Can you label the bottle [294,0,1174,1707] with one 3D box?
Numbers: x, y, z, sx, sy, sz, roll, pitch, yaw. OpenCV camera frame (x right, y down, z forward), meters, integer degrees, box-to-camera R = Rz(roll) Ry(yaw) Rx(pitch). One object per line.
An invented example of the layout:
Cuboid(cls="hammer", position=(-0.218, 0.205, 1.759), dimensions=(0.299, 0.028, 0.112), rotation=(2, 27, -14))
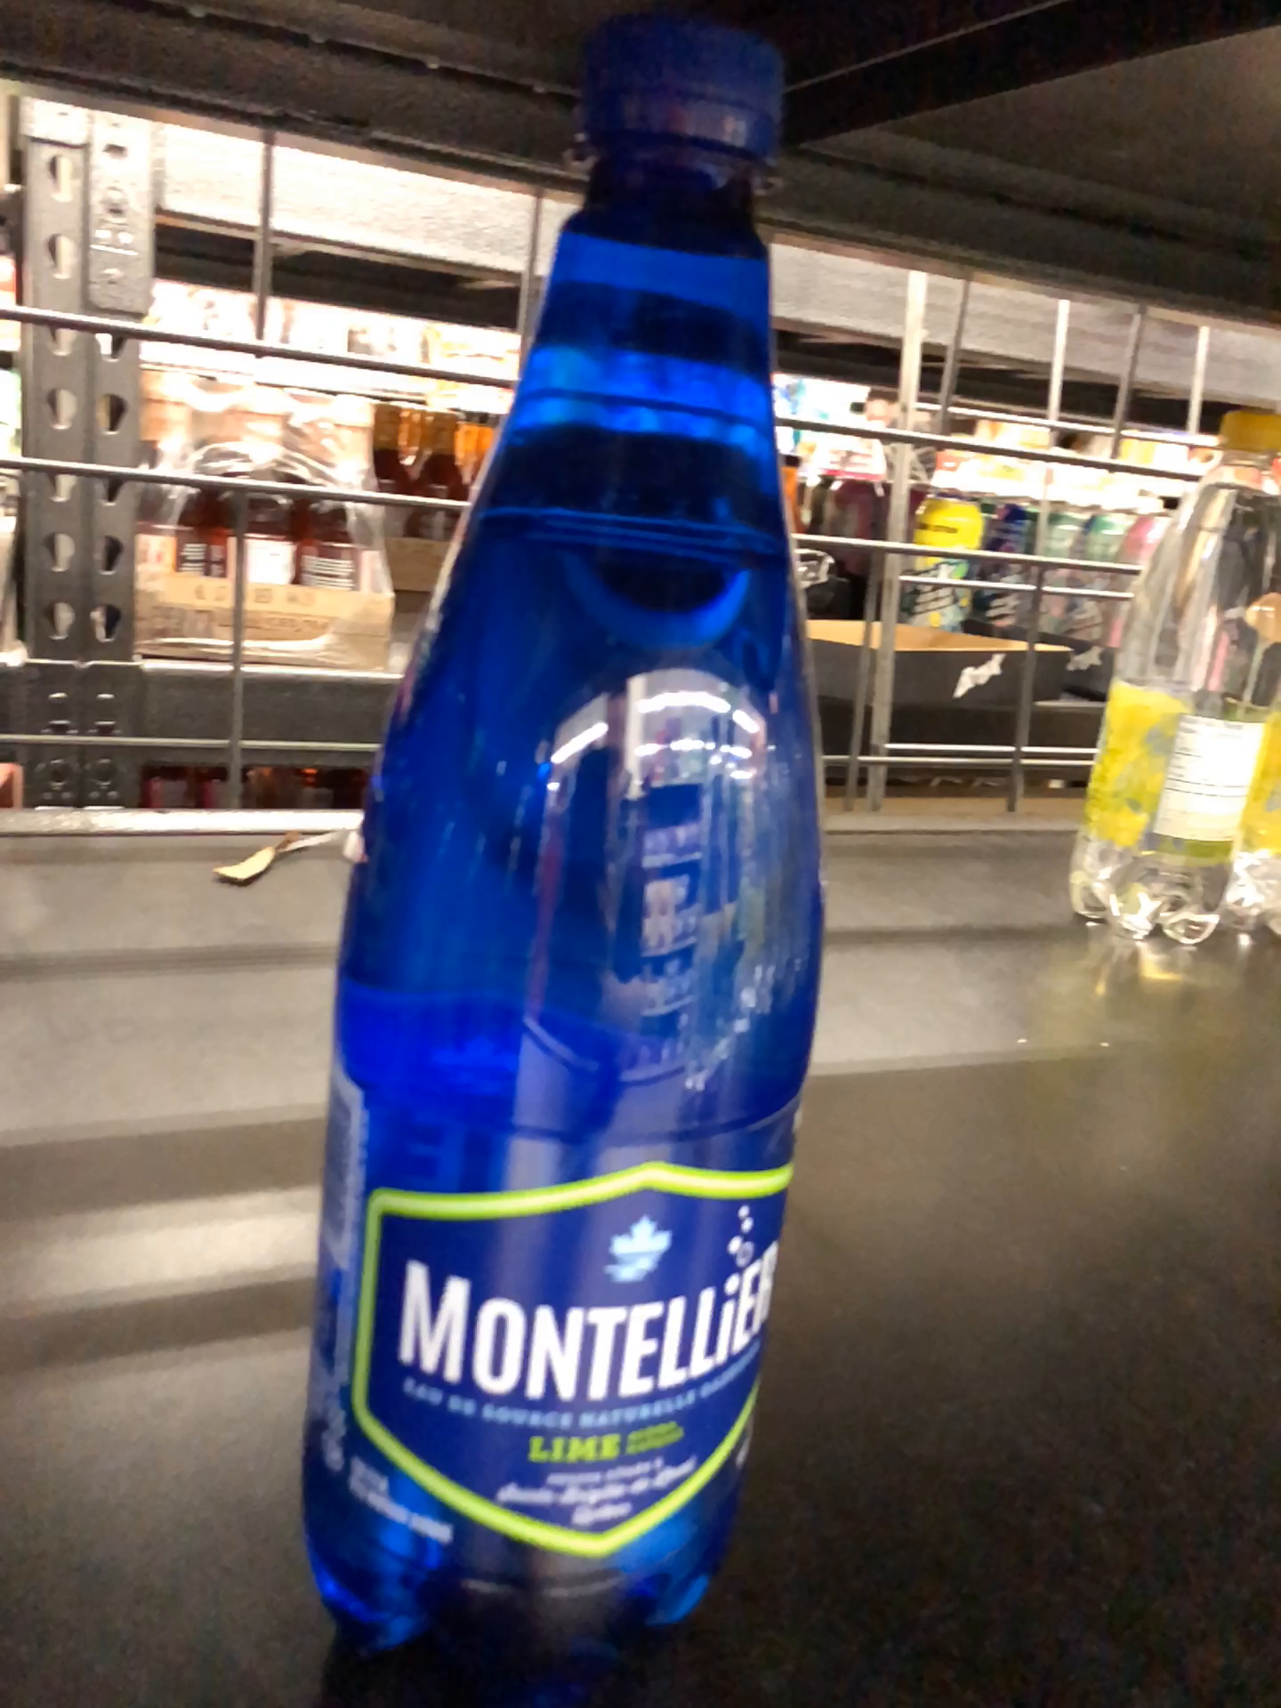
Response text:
Cuboid(cls="bottle", position=(-0.001, 0.006, 0.267), dimensions=(0.100, 0.288, 0.090), rotation=(0, 17, -22))
